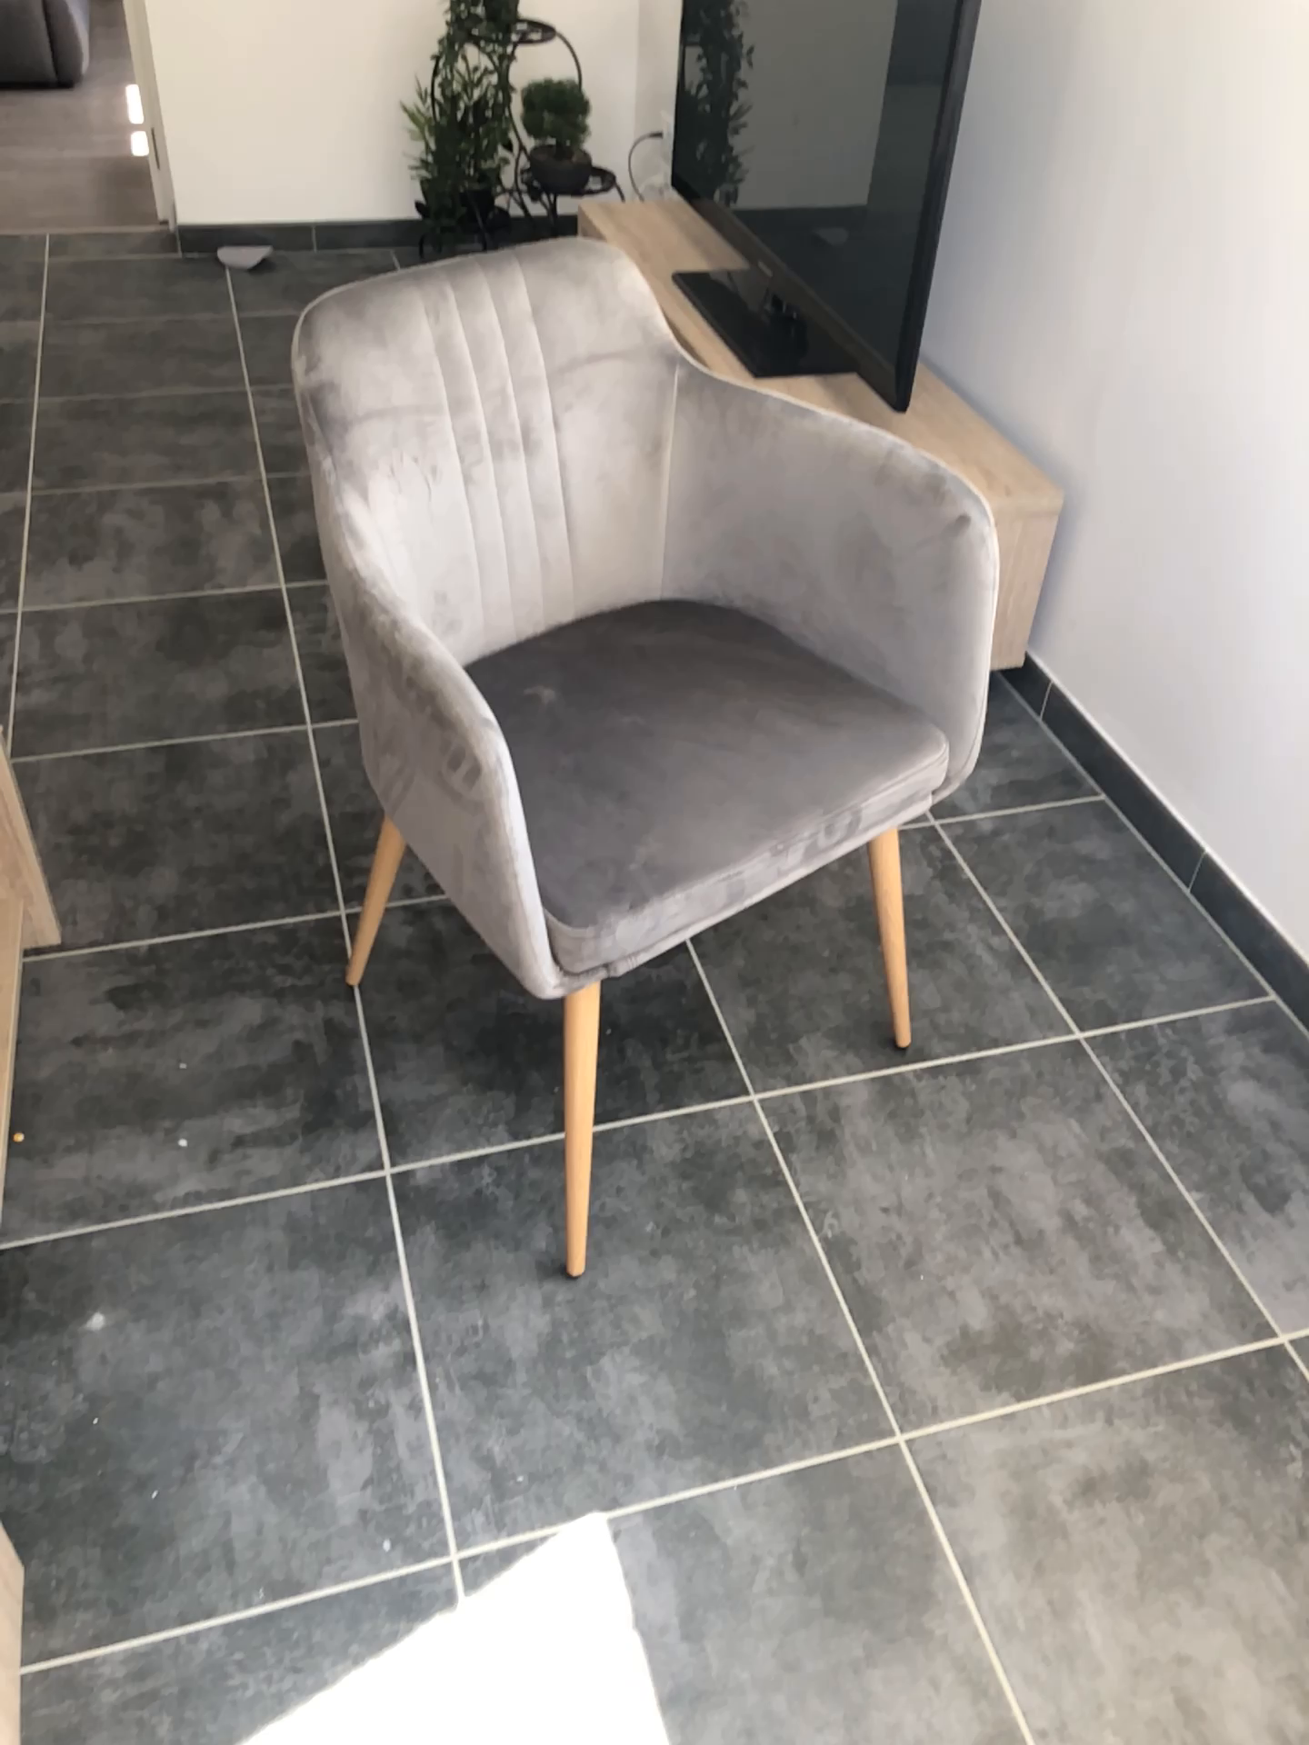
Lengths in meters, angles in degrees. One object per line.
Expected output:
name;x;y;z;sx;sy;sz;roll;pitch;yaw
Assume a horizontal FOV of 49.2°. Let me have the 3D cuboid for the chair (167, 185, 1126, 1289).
chair;-0.029;-0.162;1.495;0.593;0.825;0.581;-27;49;-31
